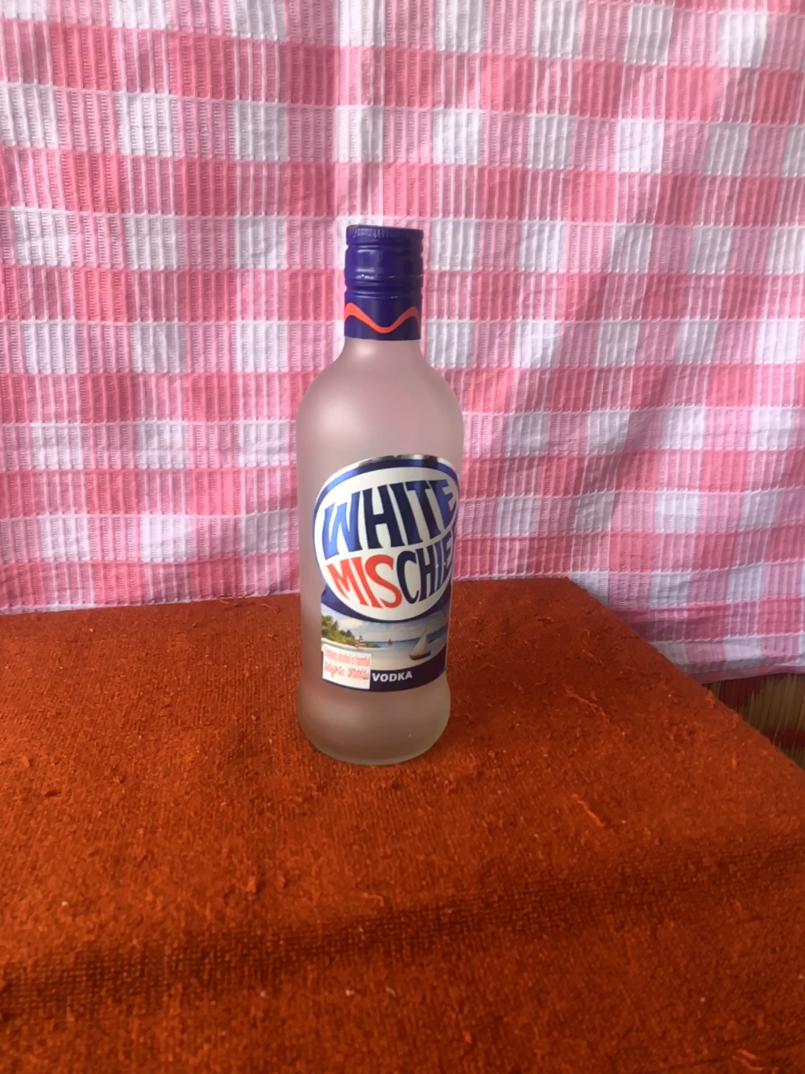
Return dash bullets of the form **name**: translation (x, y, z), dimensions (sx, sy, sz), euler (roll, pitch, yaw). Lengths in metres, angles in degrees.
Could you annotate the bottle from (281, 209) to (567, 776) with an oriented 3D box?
- **bottle**: translation (-0.001, -0.017, 0.343), dimensions (0.080, 0.199, 0.070), euler (-1, 21, -15)
